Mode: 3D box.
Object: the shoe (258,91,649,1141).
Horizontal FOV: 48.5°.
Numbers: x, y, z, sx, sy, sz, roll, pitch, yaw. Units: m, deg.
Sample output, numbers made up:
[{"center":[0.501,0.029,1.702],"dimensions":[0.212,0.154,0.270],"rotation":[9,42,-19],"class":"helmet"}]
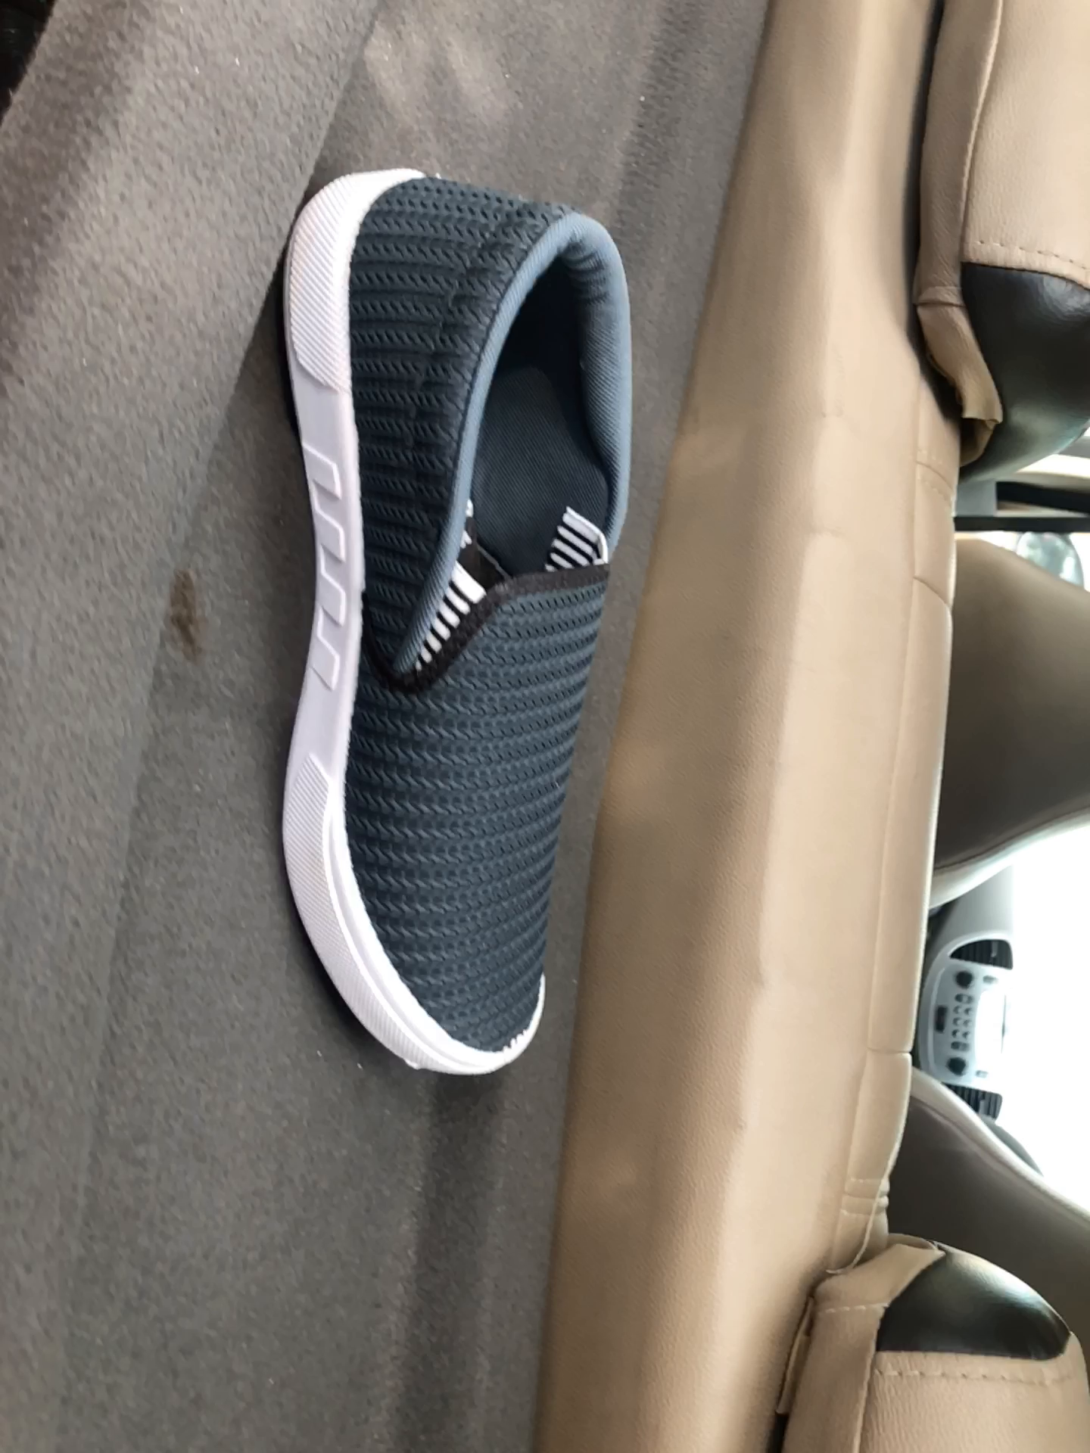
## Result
[{"center":[-0.026,-0.029,0.379],"dimensions":[0.081,0.089,0.280],"rotation":[-9,101,-64],"class":"shoe"}]
